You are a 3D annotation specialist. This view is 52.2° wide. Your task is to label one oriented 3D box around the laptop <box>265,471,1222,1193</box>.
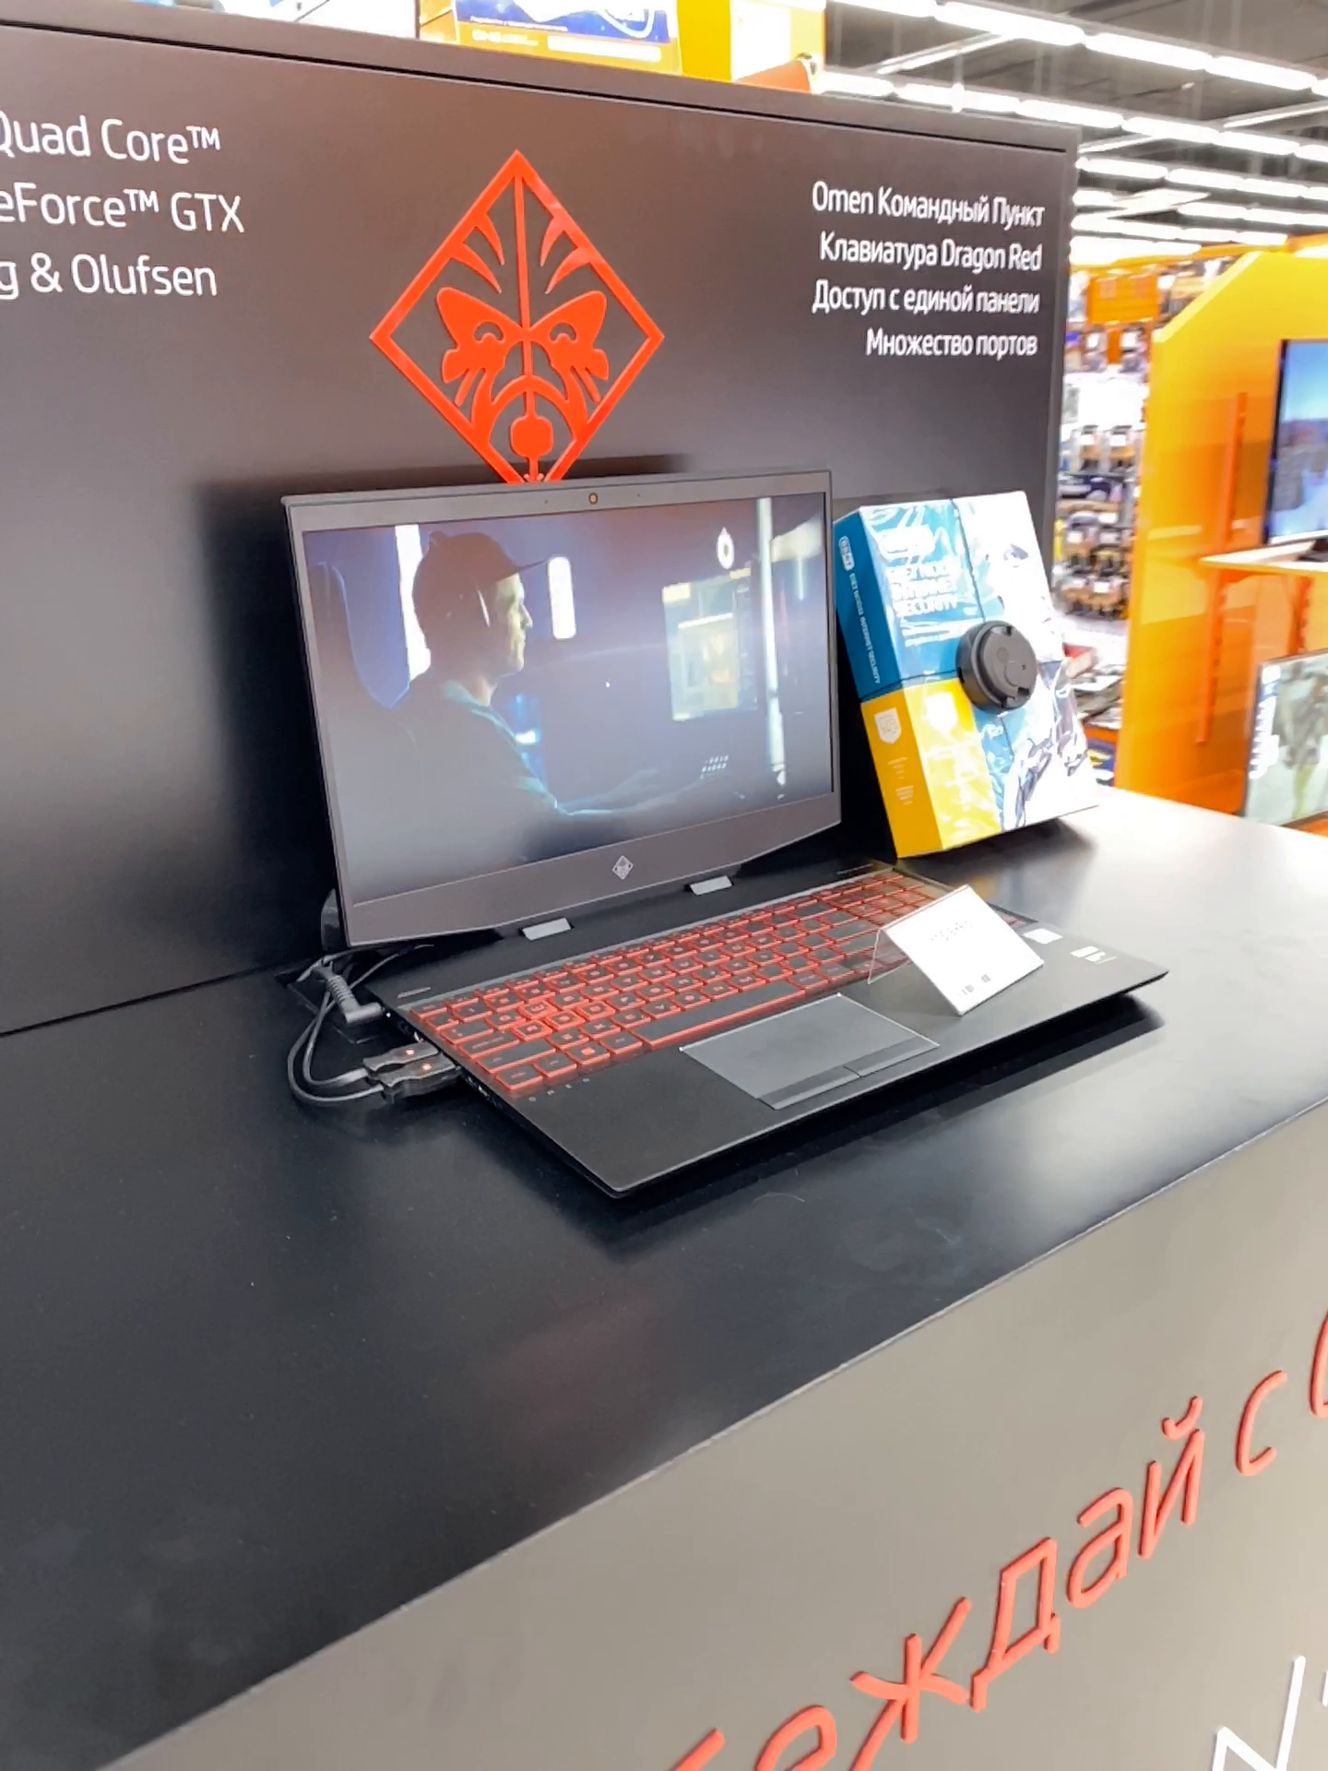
[{"bbox_3d":[0.037,-0.074,0.709,0.358,0.247,0.302,-14,23,-34],"label":"laptop"}]
